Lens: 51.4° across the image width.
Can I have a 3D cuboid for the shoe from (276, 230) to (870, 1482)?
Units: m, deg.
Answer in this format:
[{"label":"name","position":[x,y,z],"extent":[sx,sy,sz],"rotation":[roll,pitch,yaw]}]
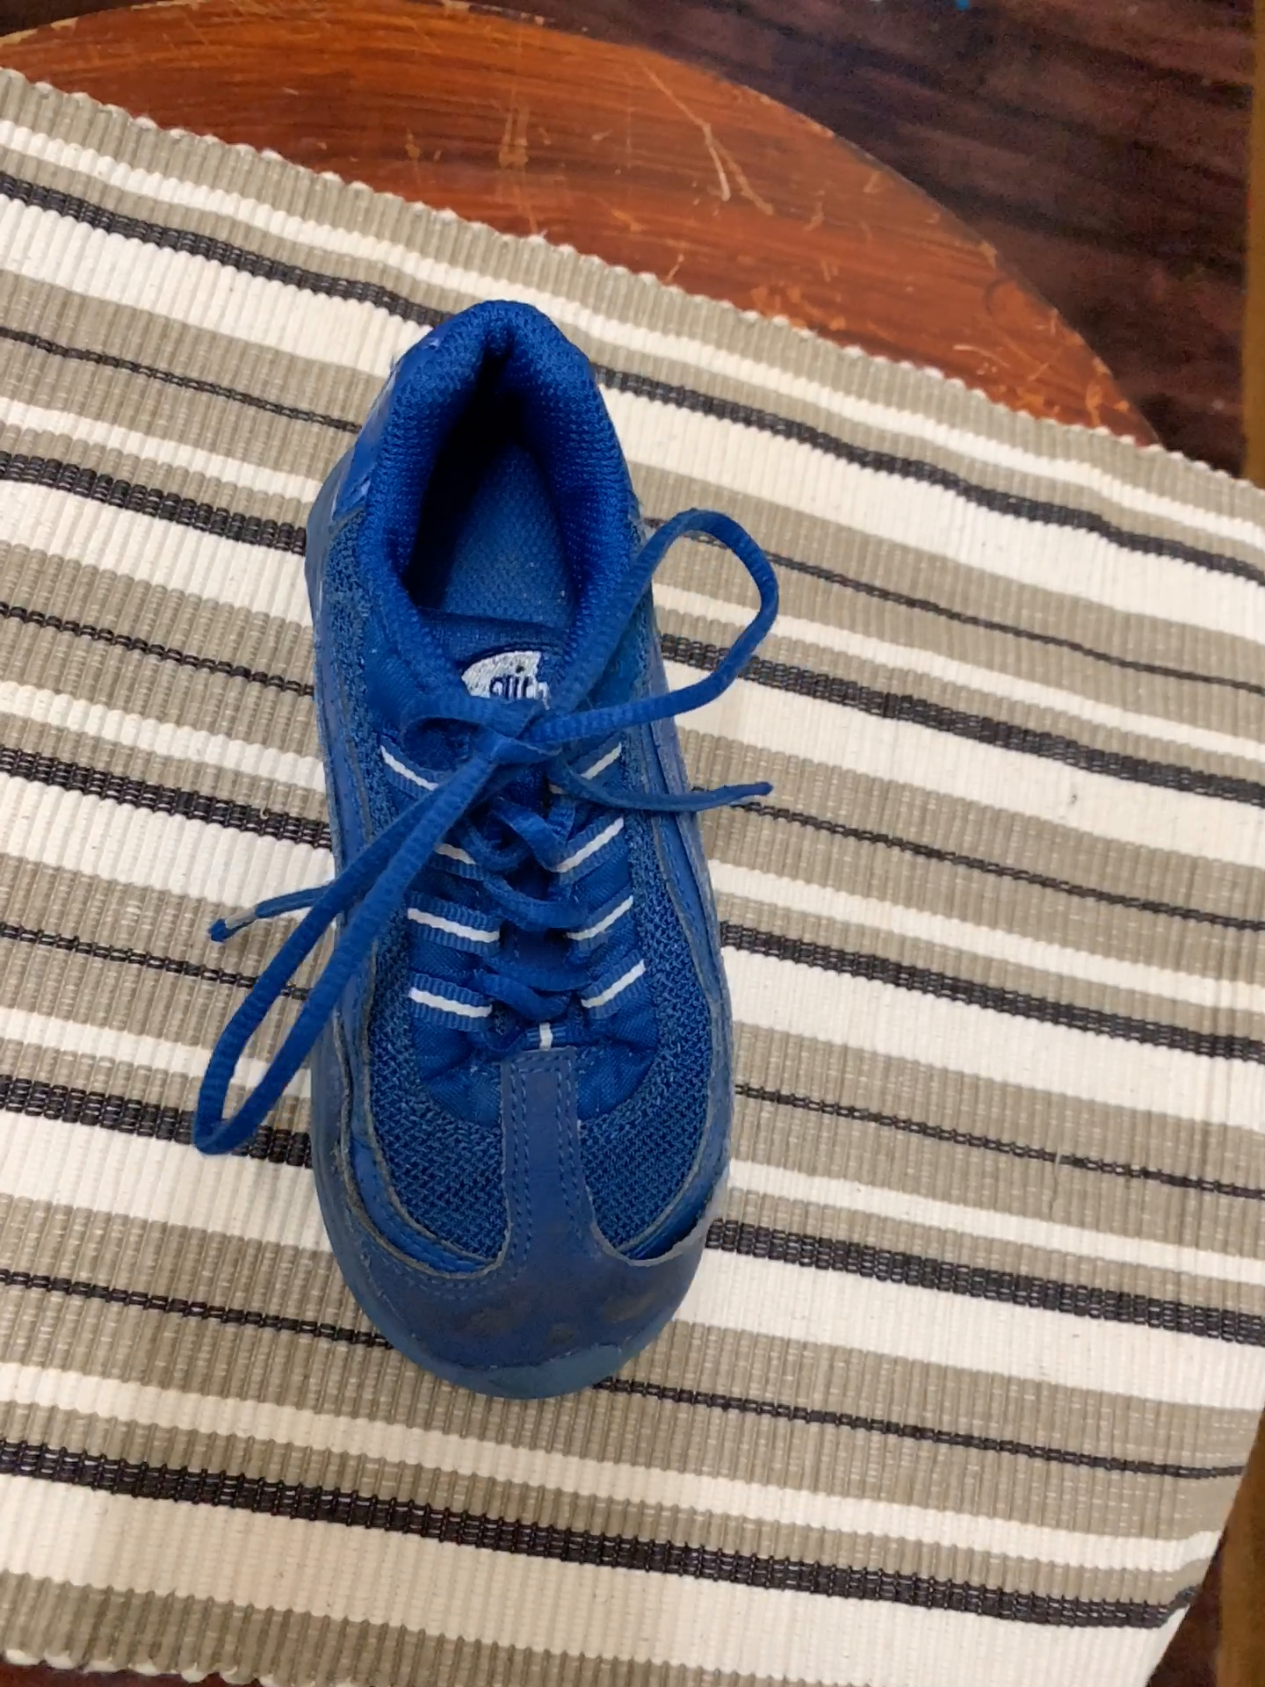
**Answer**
[{"label":"shoe","position":[-0.019,0.000,0.226],"extent":[0.073,0.080,0.175],"rotation":[-2,78,-13]}]
